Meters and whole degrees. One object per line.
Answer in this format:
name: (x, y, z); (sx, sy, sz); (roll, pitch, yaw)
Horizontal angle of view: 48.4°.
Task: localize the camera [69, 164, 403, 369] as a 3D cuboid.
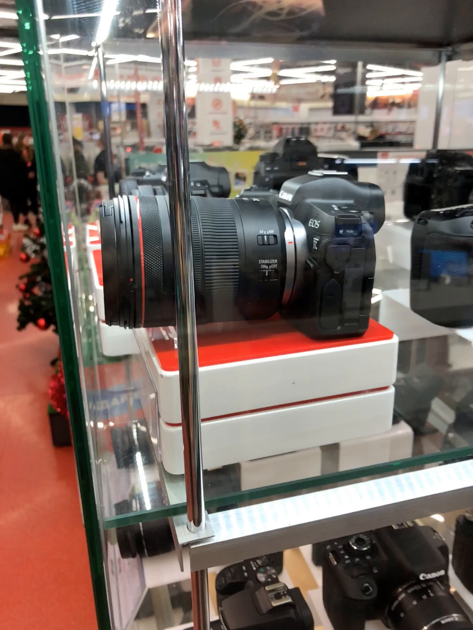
camera: (-0.013, -0.047, 0.353); (0.180, 0.093, 0.145); (-6, 20, -15)
